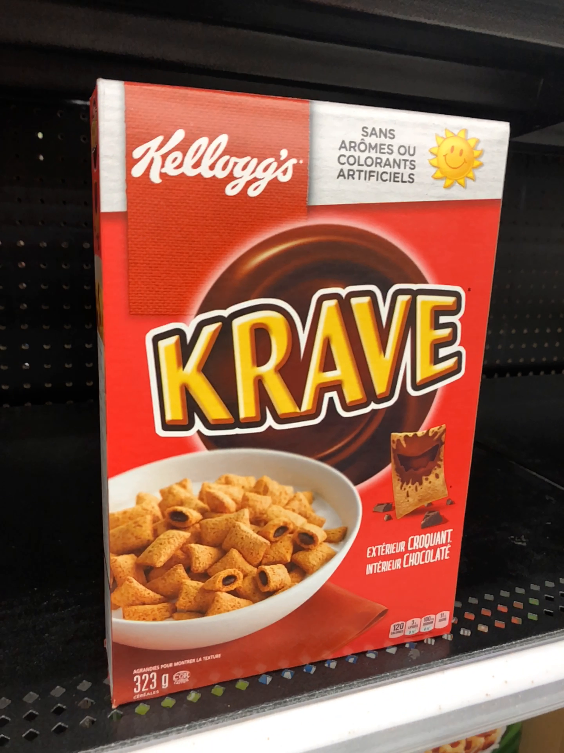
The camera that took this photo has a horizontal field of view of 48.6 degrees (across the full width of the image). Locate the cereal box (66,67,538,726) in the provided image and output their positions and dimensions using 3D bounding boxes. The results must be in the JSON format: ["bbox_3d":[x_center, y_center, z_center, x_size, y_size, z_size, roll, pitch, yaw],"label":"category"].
[{"bbox_3d":[0.008,0.014,0.314,0.210,0.279,0.050,-2,14,-20],"label":"cereal box"}]
